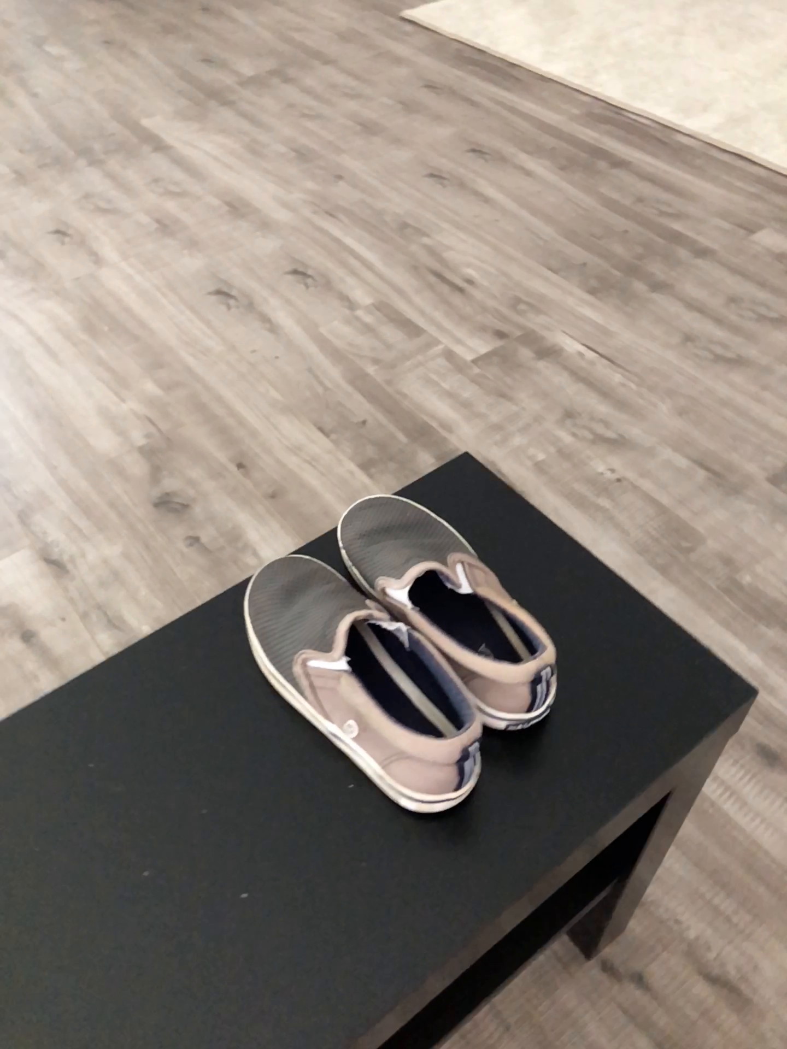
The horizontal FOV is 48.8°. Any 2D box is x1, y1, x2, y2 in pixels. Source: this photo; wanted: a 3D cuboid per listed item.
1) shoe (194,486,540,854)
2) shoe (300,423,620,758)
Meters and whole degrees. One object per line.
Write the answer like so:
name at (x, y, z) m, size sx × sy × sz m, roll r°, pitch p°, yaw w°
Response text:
shoe at (-0.020, 0.071, 0.478) m, size 0.077 × 0.070 × 0.191 m, roll -33°, pitch 54°, yaw -25°
shoe at (0.031, 0.031, 0.516) m, size 0.077 × 0.070 × 0.191 m, roll -29°, pitch 52°, yaw -22°
